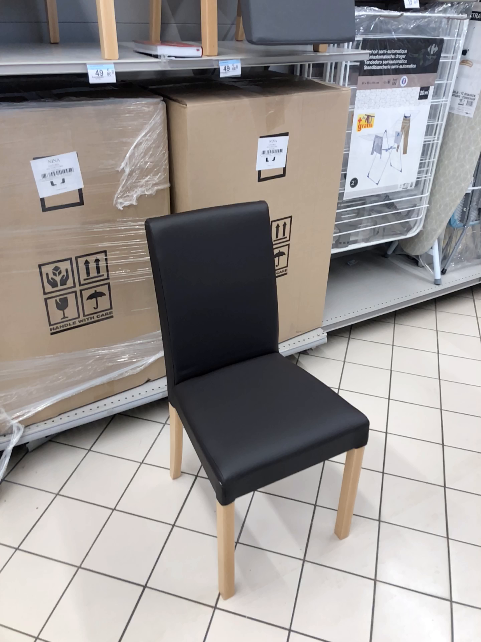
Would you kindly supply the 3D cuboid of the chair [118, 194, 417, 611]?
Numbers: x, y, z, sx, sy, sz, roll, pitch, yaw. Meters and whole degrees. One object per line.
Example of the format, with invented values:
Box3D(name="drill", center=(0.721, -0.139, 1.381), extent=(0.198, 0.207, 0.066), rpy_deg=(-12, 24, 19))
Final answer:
Box3D(name="chair", center=(0.019, 0.187, 1.442), extent=(0.452, 0.855, 0.591), rpy_deg=(-16, 36, -26))
